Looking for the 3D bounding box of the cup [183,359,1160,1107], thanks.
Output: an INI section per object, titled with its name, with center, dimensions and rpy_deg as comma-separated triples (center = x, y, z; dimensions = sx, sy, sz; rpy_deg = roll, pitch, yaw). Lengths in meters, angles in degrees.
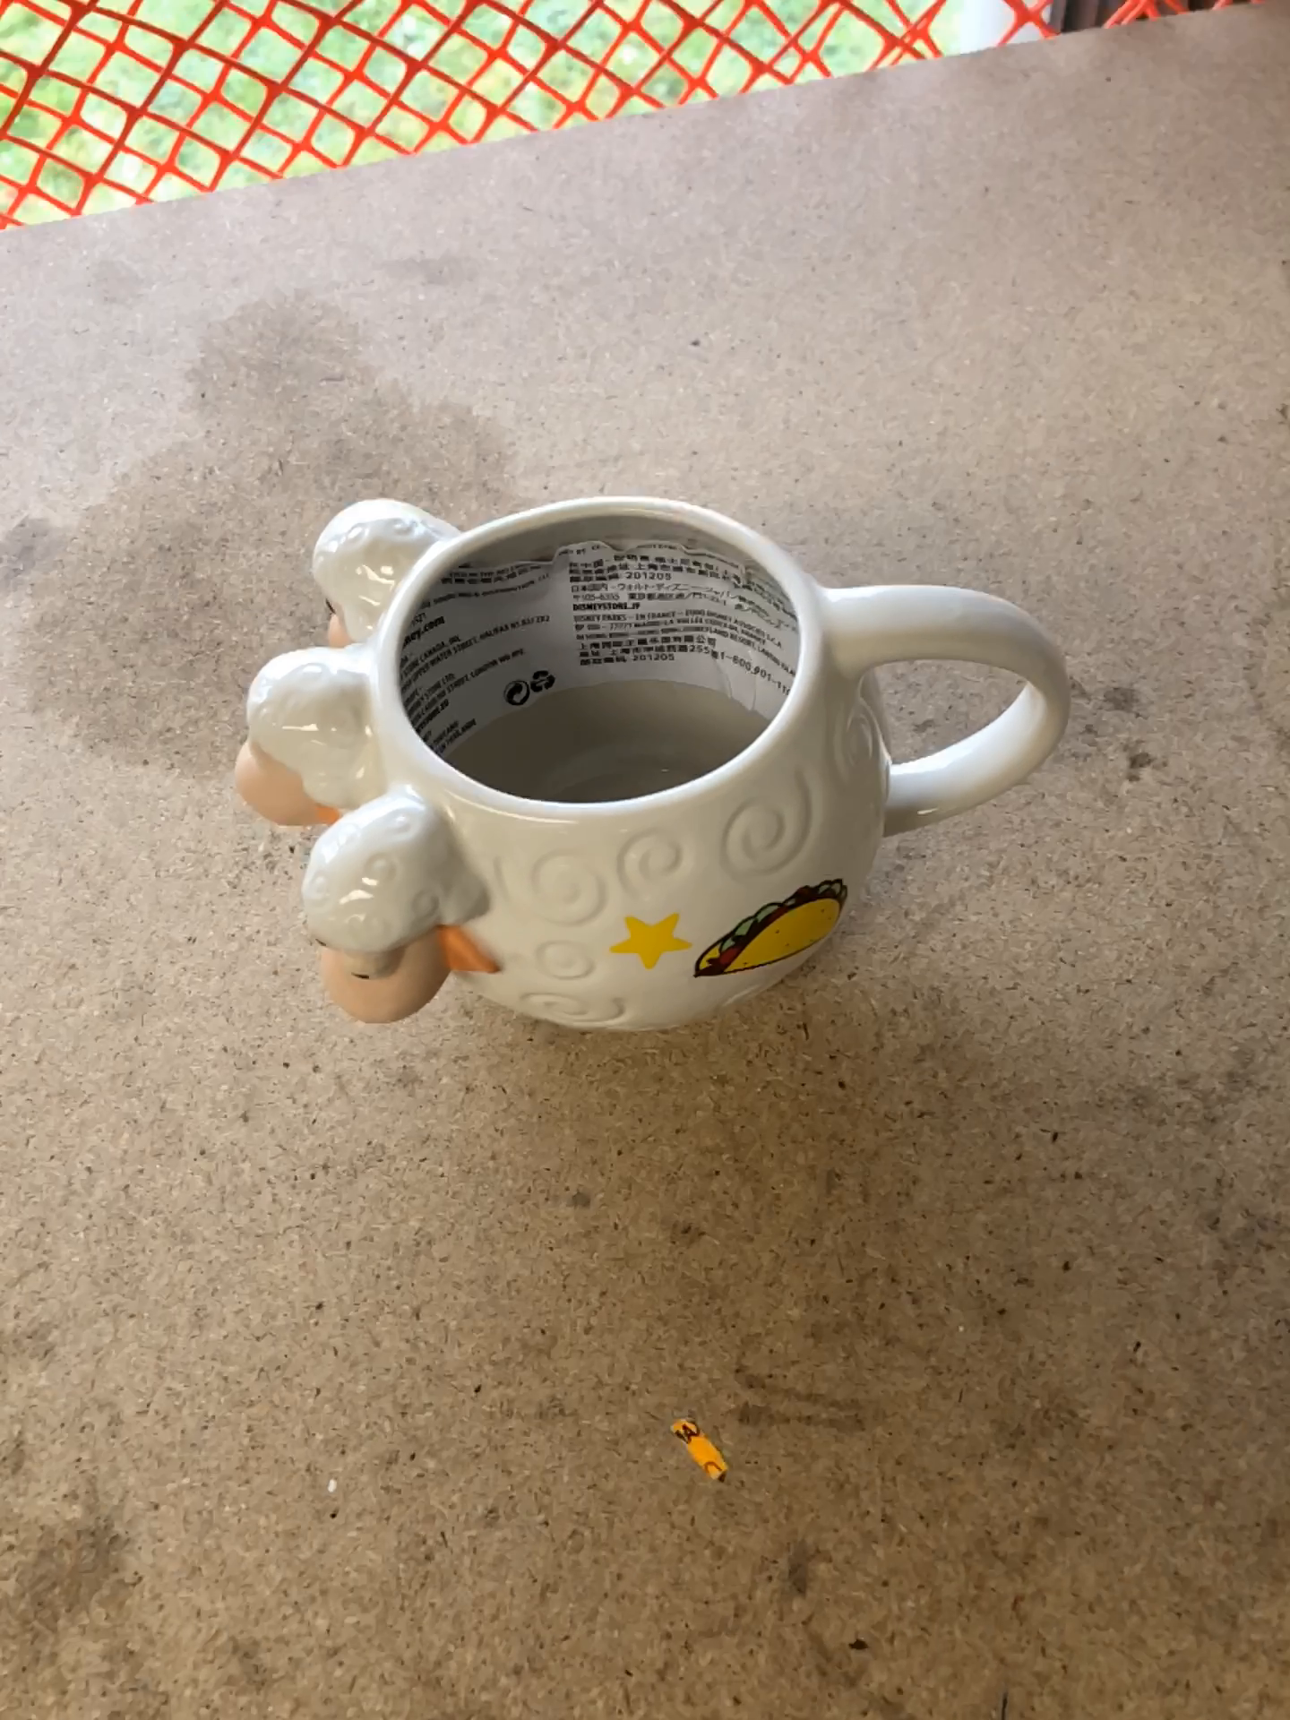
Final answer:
[cup]
center = 0.002, -0.019, 0.273
dimensions = 0.146, 0.090, 0.076
rpy_deg = -12, 61, -2
